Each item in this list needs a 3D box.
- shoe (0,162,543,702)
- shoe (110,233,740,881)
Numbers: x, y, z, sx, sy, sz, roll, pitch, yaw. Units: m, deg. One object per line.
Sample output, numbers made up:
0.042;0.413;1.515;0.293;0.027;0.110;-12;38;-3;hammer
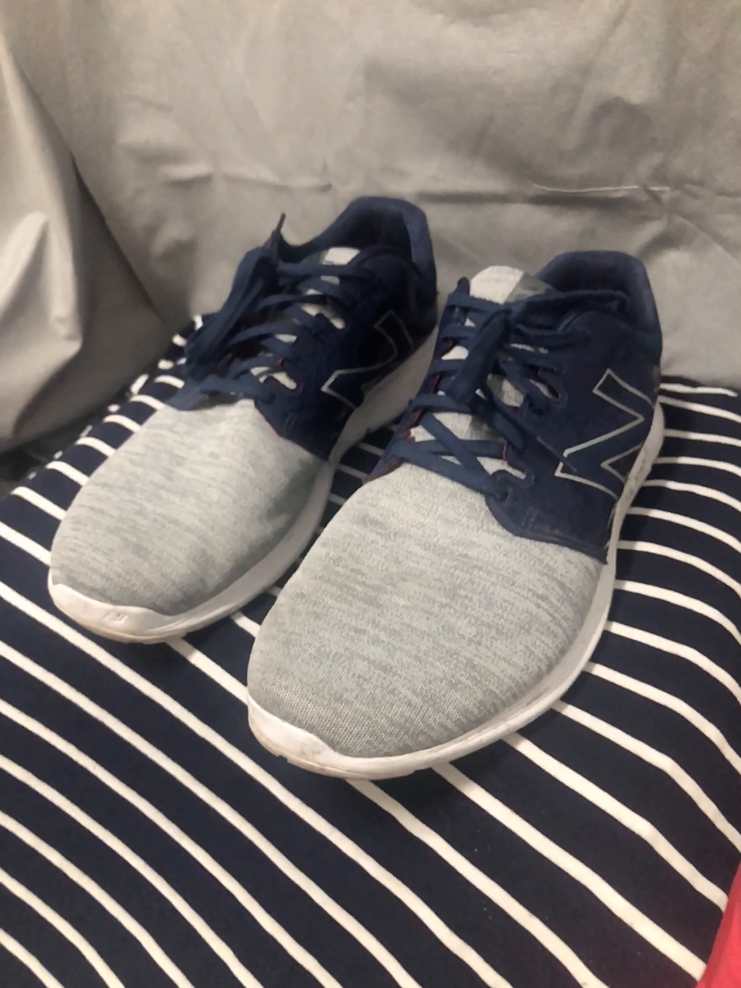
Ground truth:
-0.037;-0.065;0.407;0.120;0.089;0.322;19;44;26;shoe
0.045;-0.010;0.324;0.120;0.079;0.261;19;44;26;shoe
